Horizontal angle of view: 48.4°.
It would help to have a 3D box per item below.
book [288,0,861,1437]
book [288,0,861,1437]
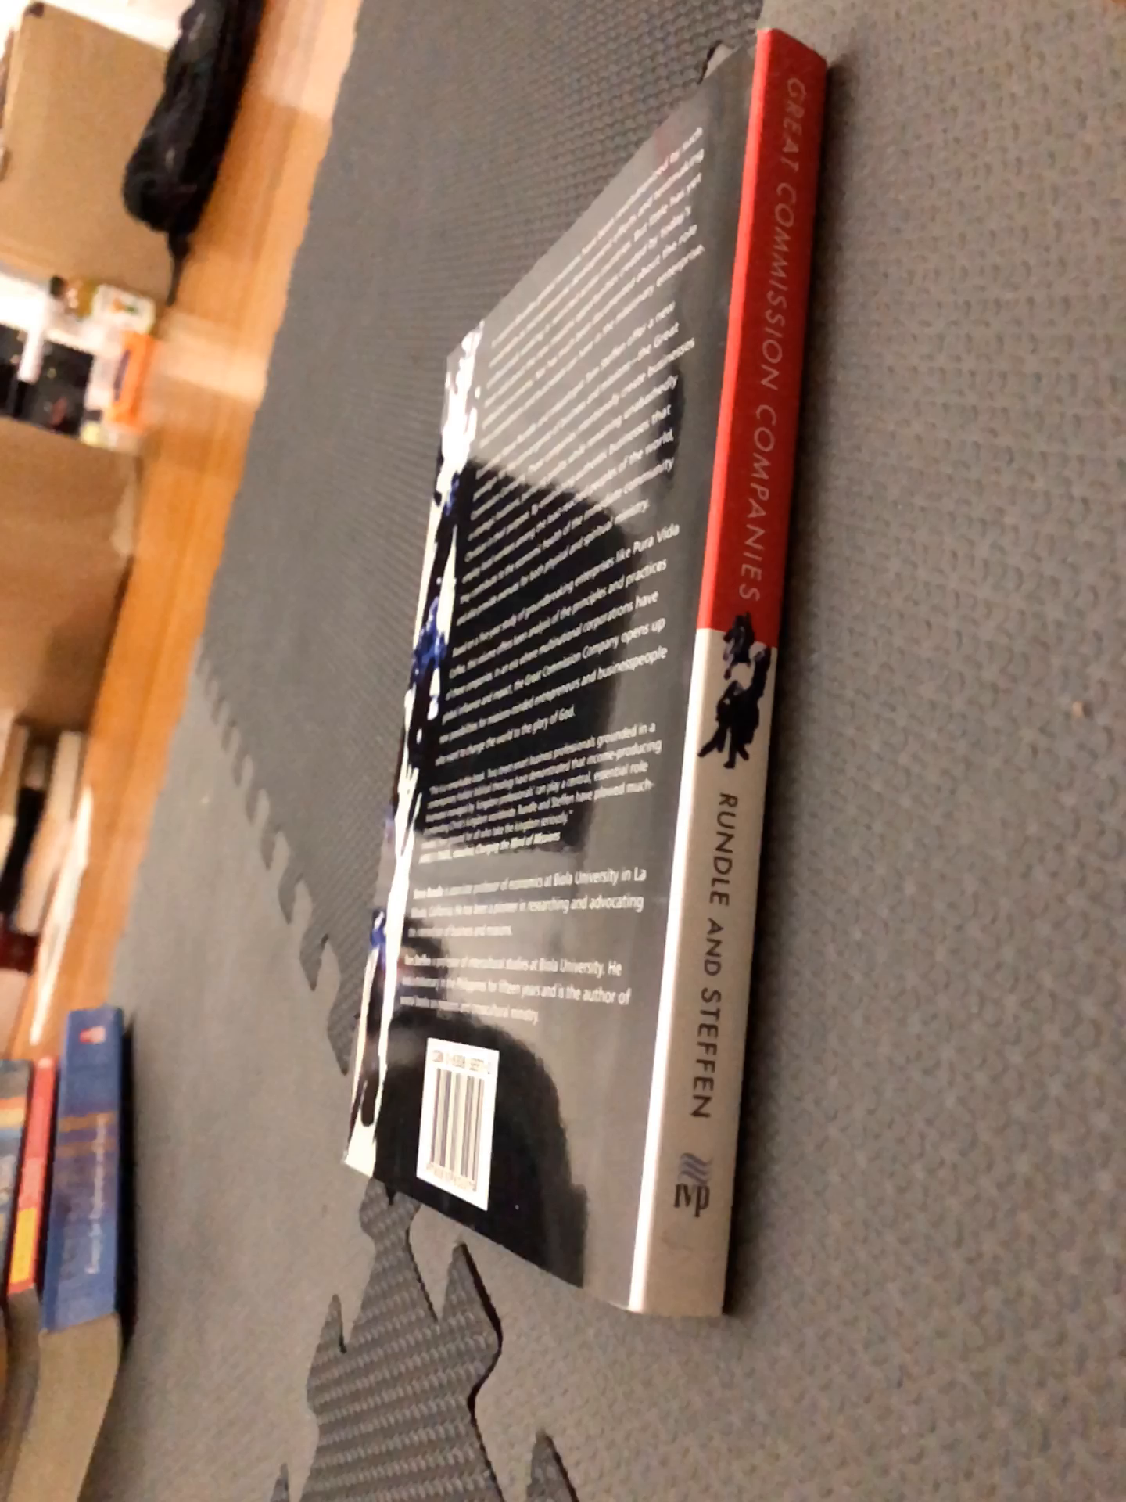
[{"bbox_3d":[-0.006,-0.015,0.249,0.151,0.020,0.230,-18,61,63],"label":"book"},{"bbox_3d":[-0.006,-0.015,0.249,0.151,0.020,0.230,-18,61,63],"label":"book"}]
